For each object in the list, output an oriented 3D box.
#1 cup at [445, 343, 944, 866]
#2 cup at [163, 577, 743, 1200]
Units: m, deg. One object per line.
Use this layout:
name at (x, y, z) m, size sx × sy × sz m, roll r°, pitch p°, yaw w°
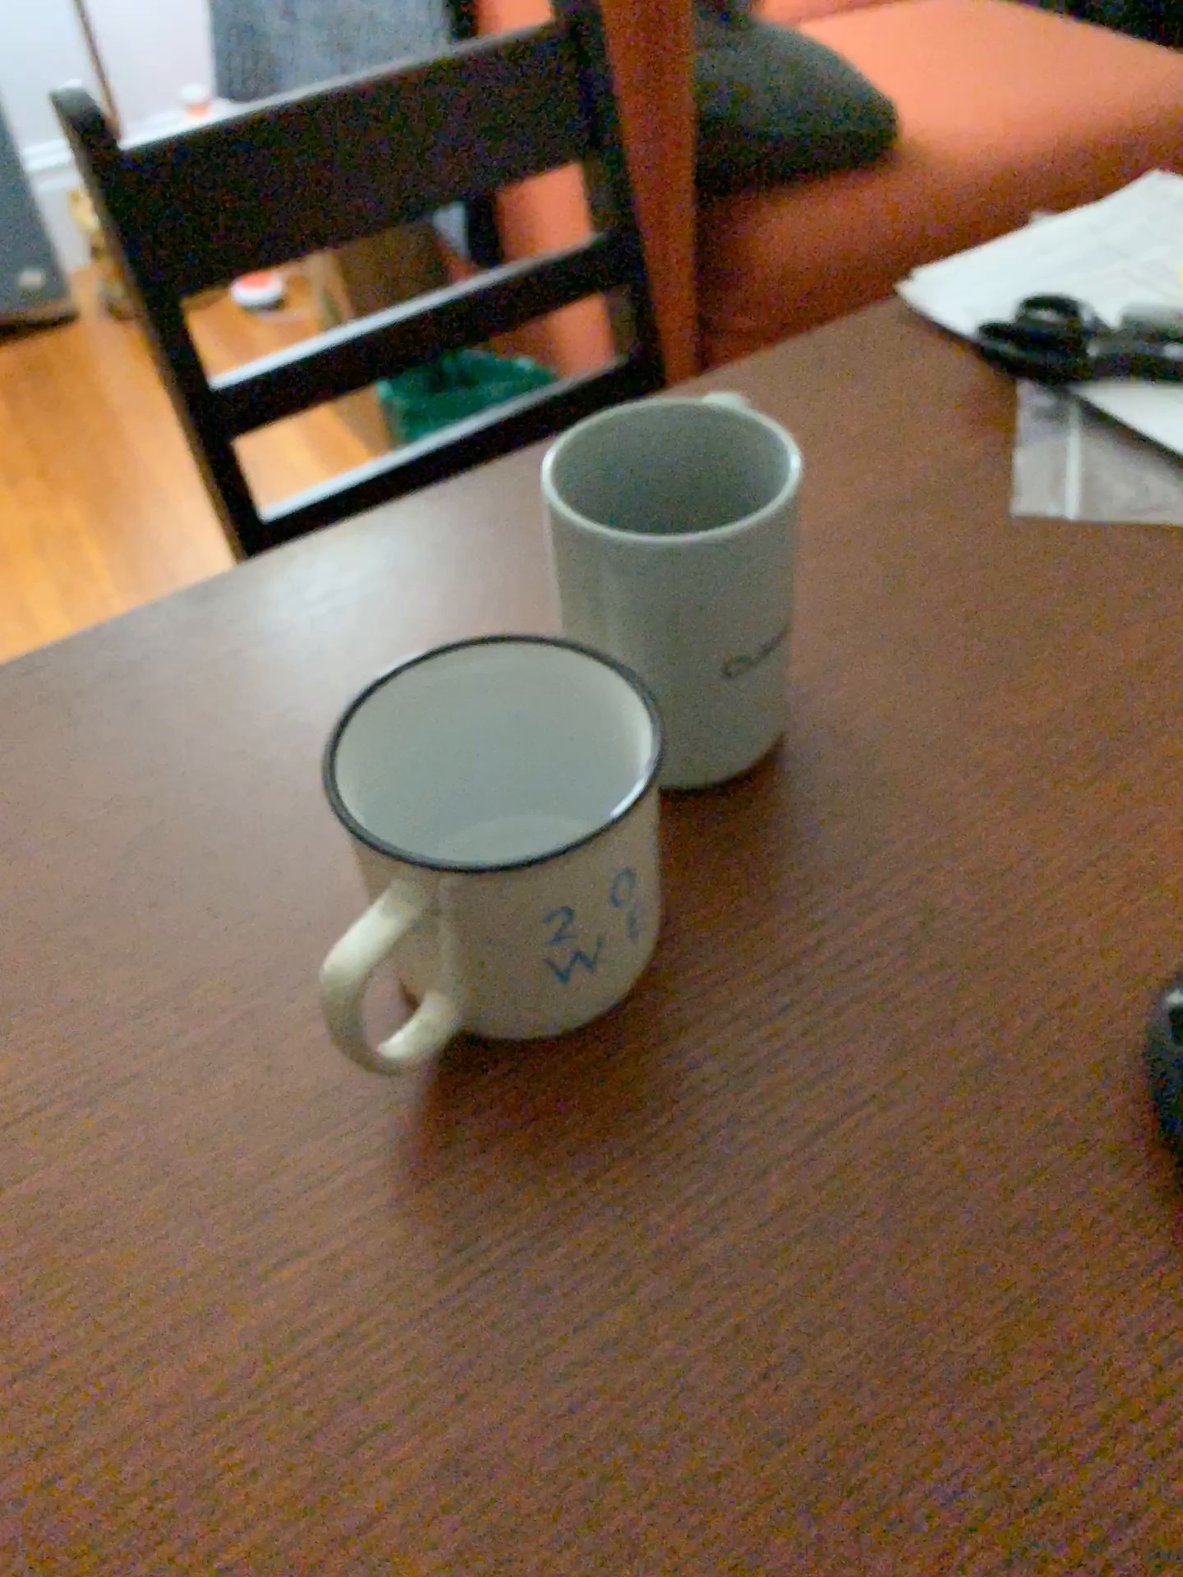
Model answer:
cup at (0.039, -0.071, 0.442) m, size 0.100 × 0.099 × 0.140 m, roll 28°, pitch 55°, yaw 28°
cup at (-0.033, 0.025, 0.380) m, size 0.100 × 0.099 × 0.130 m, roll 29°, pitch 55°, yaw 28°
